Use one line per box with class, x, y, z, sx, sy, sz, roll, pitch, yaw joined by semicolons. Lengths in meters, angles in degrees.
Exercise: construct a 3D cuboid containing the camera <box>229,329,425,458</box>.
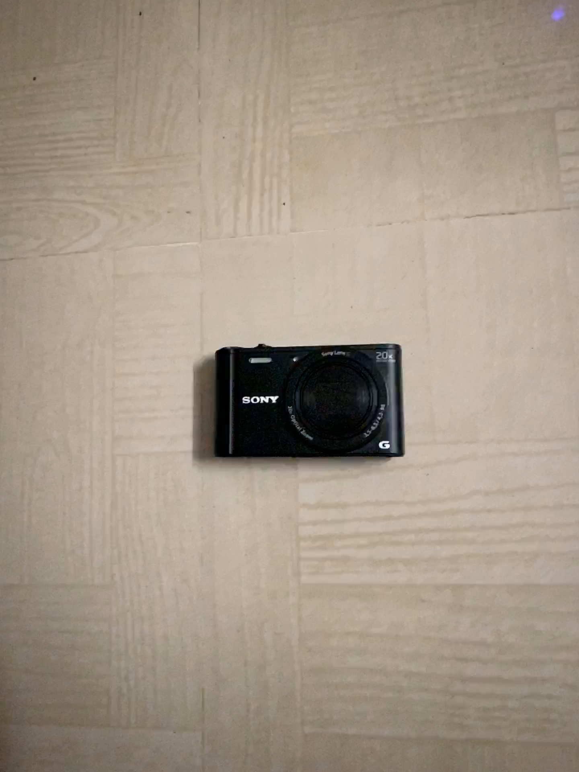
camera;0.018;0.005;0.296;0.092;0.025;0.060;-1;83;10
